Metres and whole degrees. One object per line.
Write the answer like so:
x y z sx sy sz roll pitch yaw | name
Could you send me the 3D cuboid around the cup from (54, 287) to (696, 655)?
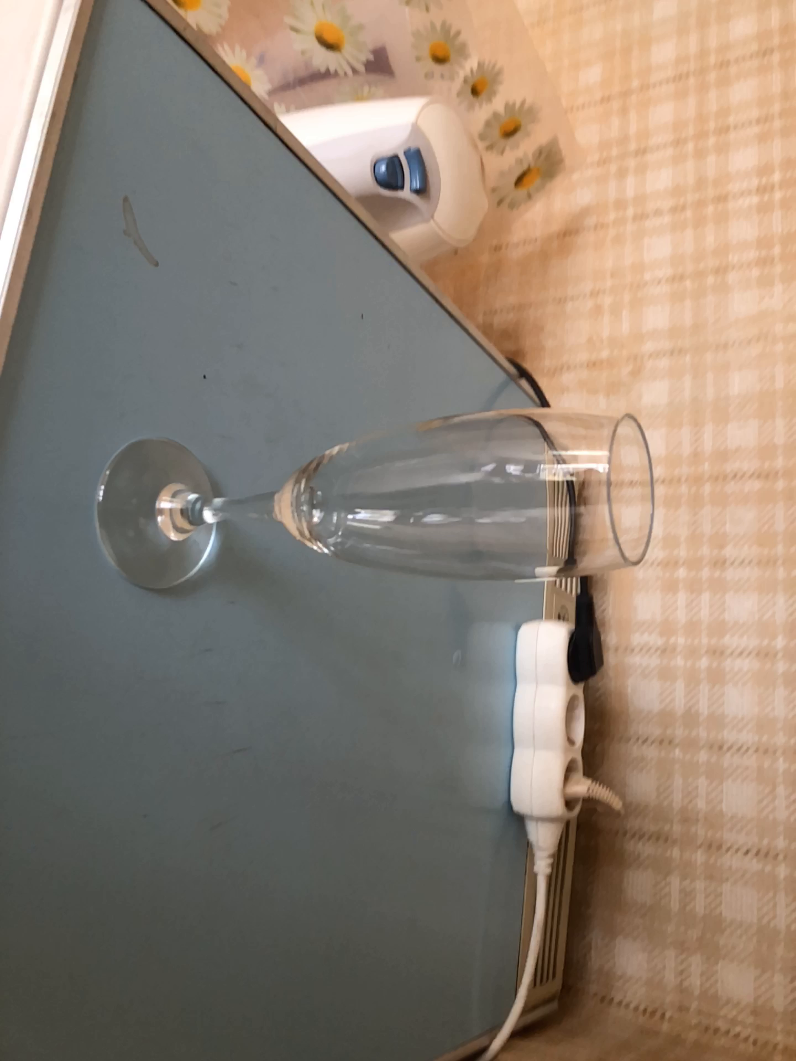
-0.011 -0.006 0.302 0.090 0.199 0.090 7 81 -59 | cup
